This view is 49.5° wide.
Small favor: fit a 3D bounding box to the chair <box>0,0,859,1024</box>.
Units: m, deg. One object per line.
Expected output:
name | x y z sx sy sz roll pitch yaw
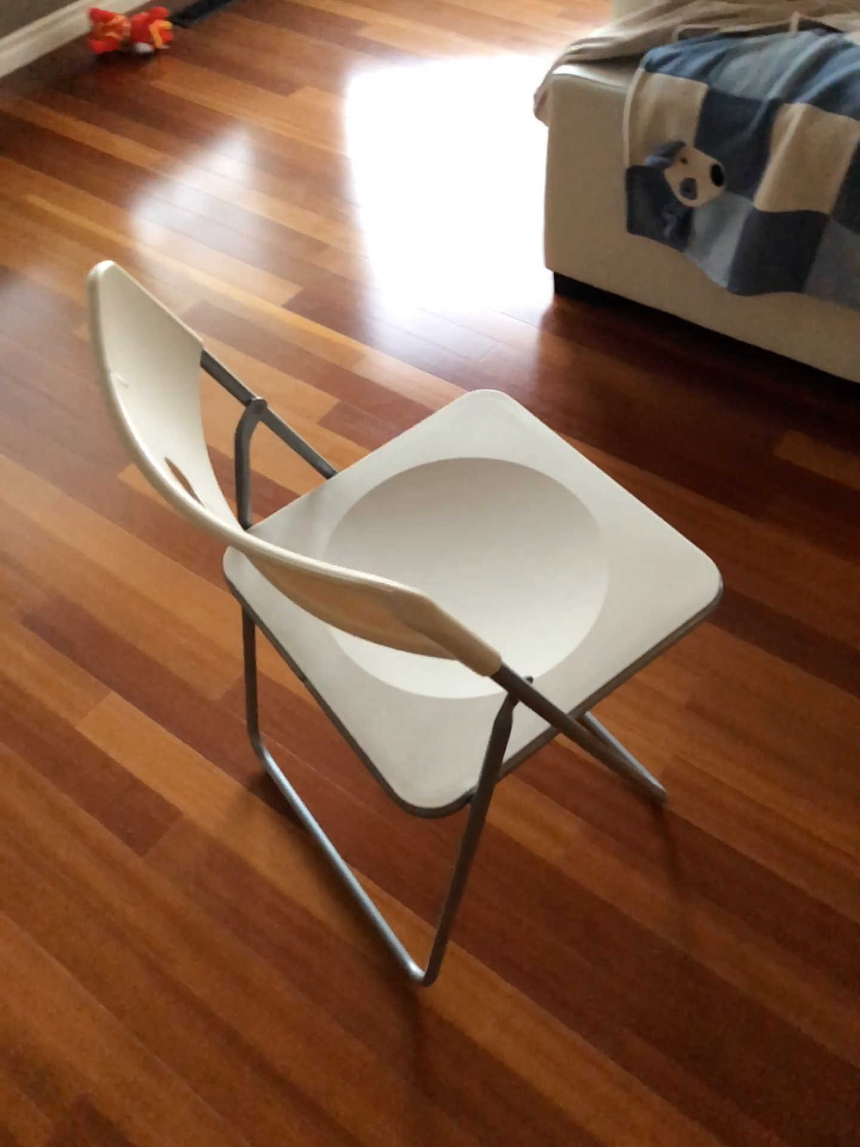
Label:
chair | 0.053 -0.047 0.824 0.541 0.577 0.462 -32 57 -19
